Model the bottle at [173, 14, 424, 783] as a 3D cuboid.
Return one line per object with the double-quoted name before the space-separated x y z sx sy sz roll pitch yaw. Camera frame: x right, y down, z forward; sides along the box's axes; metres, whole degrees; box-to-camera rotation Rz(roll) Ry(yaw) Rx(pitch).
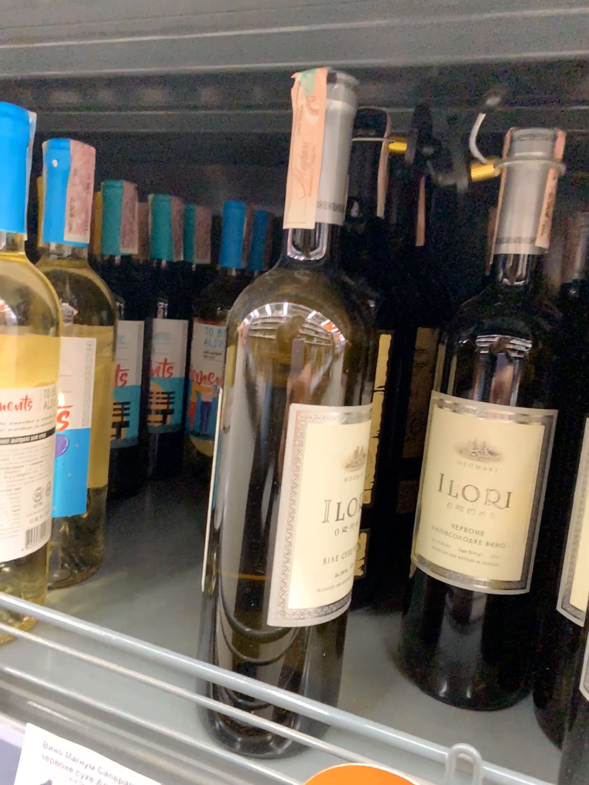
"bottle" 0.000 0.009 0.294 0.069 0.319 0.070 5 9 -1
